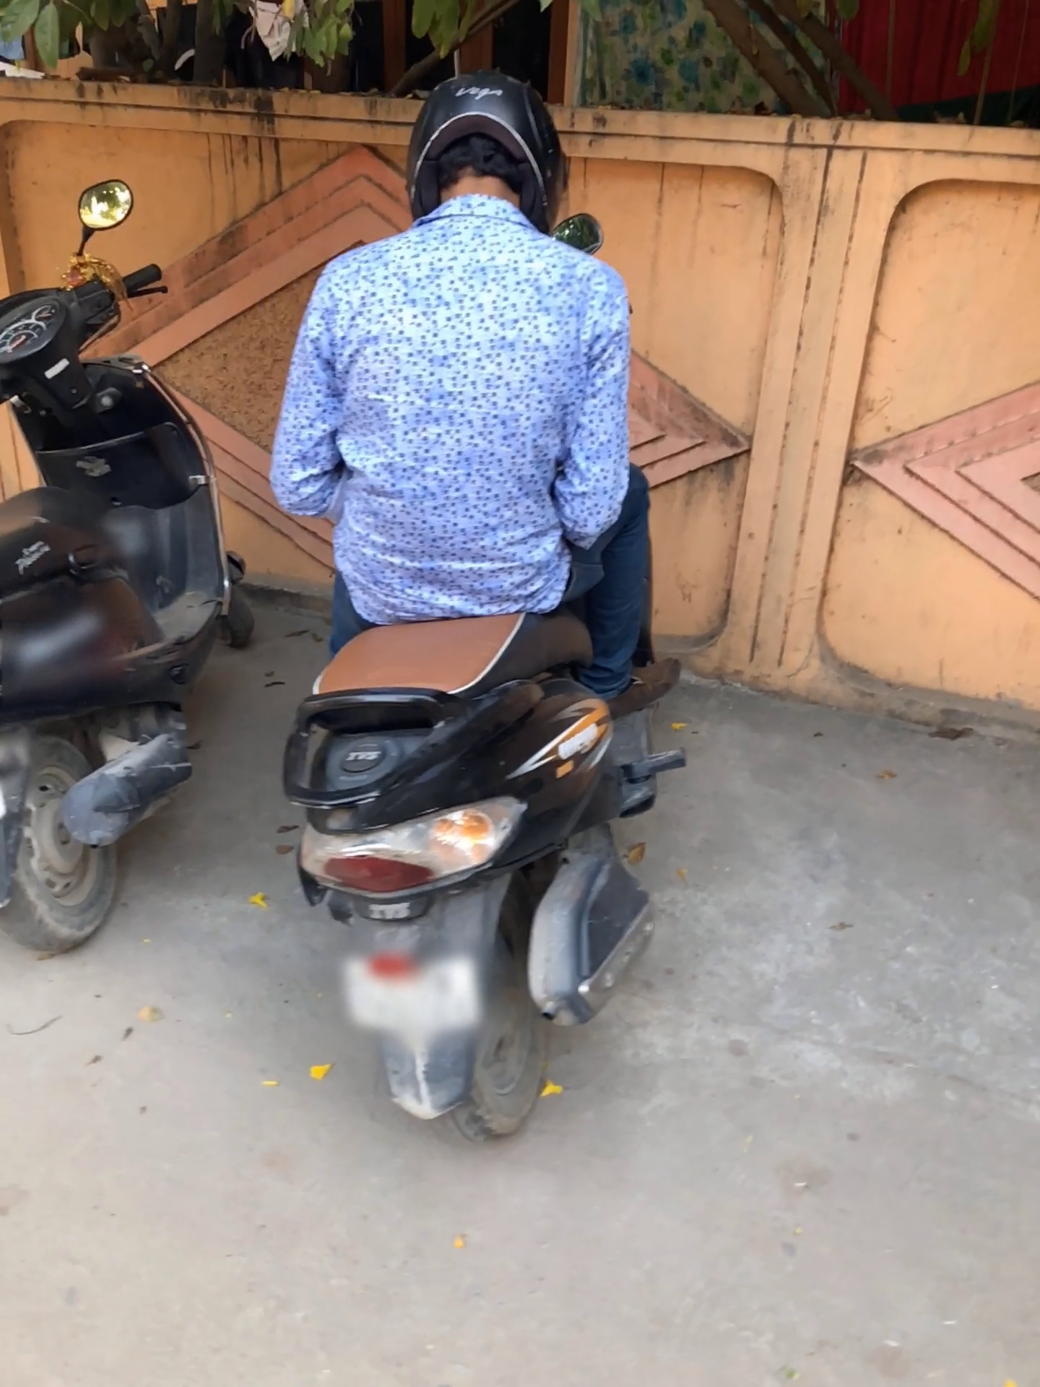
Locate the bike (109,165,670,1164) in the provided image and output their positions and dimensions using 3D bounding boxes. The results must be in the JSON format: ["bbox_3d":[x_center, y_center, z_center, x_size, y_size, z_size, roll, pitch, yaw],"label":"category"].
[{"bbox_3d":[-0.164,-0.198,2.022,0.628,1.037,1.327,3,33,1],"label":"bike"}]
